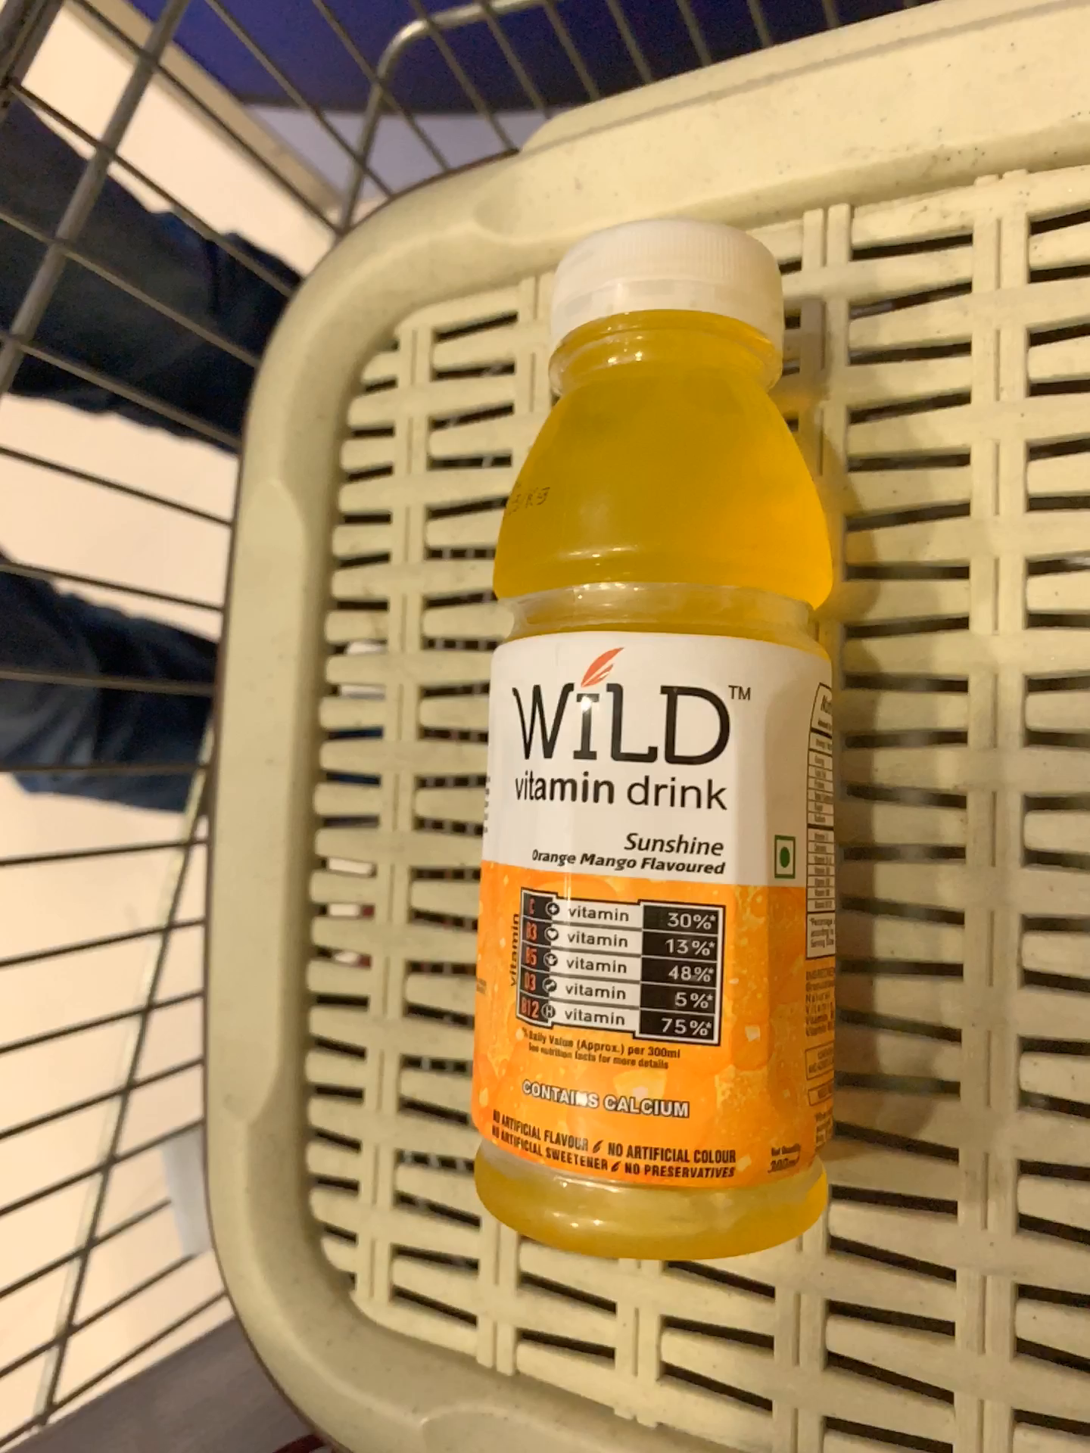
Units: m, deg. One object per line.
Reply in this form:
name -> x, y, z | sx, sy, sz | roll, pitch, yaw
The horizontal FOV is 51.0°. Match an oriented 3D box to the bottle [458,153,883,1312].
bottle -> 0.026, 0.000, 0.204 | 0.060, 0.060, 0.170 | 1, 87, 15
